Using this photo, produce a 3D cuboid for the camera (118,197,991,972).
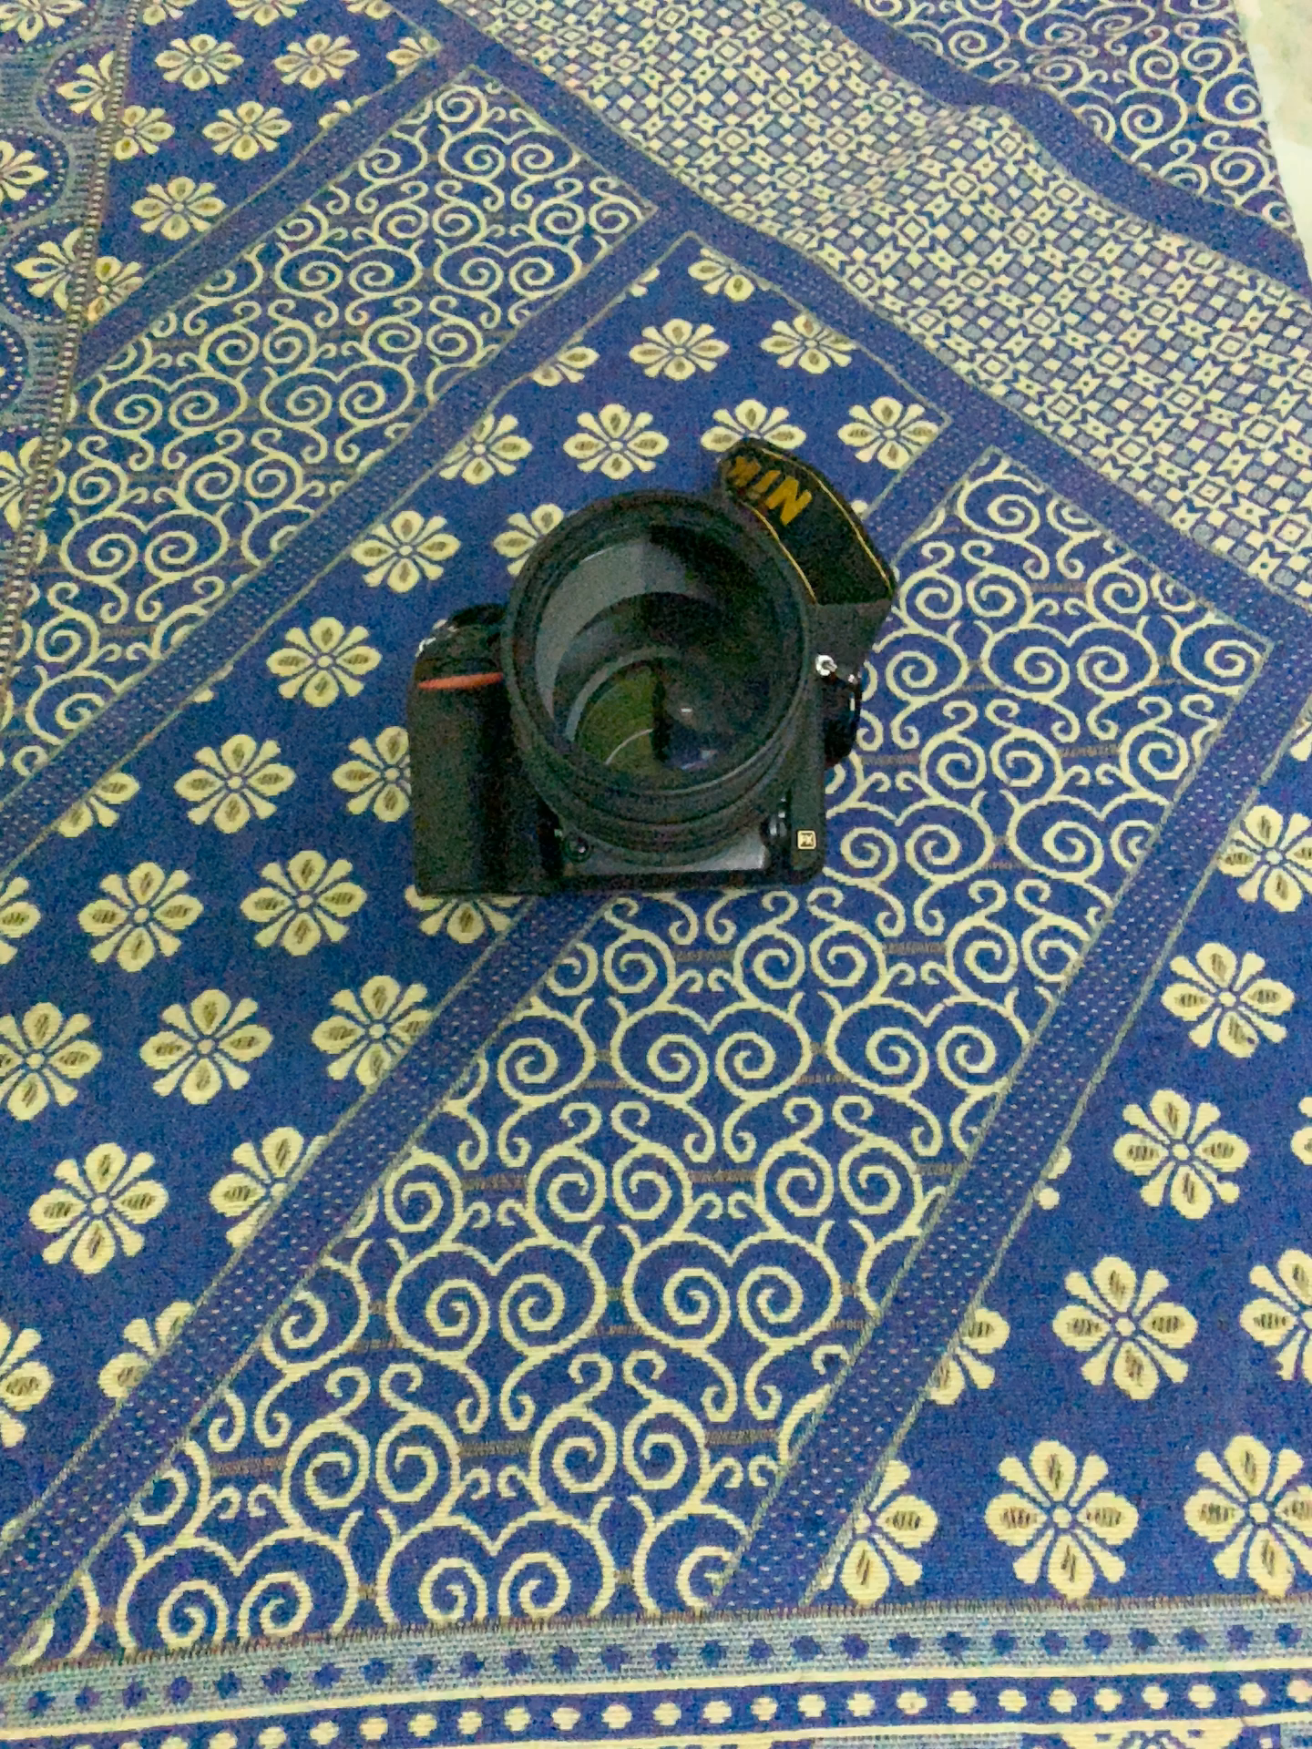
[{"bbox_3d":[-0.020,-0.053,0.353,0.160,0.191,0.130,-1,79,0],"label":"camera"}]
